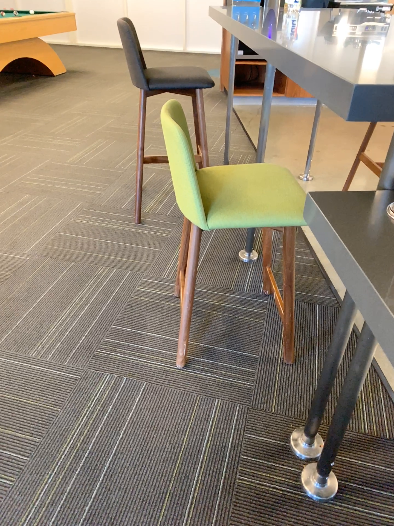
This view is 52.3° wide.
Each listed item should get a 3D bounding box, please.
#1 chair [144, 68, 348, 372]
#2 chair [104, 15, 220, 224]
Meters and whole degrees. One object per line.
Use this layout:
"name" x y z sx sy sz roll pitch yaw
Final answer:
"chair" 0.120 -0.155 1.434 0.480 0.875 0.594 -3 34 -1
"chair" -0.166 -0.872 2.371 0.500 0.944 0.855 -4 35 -2
